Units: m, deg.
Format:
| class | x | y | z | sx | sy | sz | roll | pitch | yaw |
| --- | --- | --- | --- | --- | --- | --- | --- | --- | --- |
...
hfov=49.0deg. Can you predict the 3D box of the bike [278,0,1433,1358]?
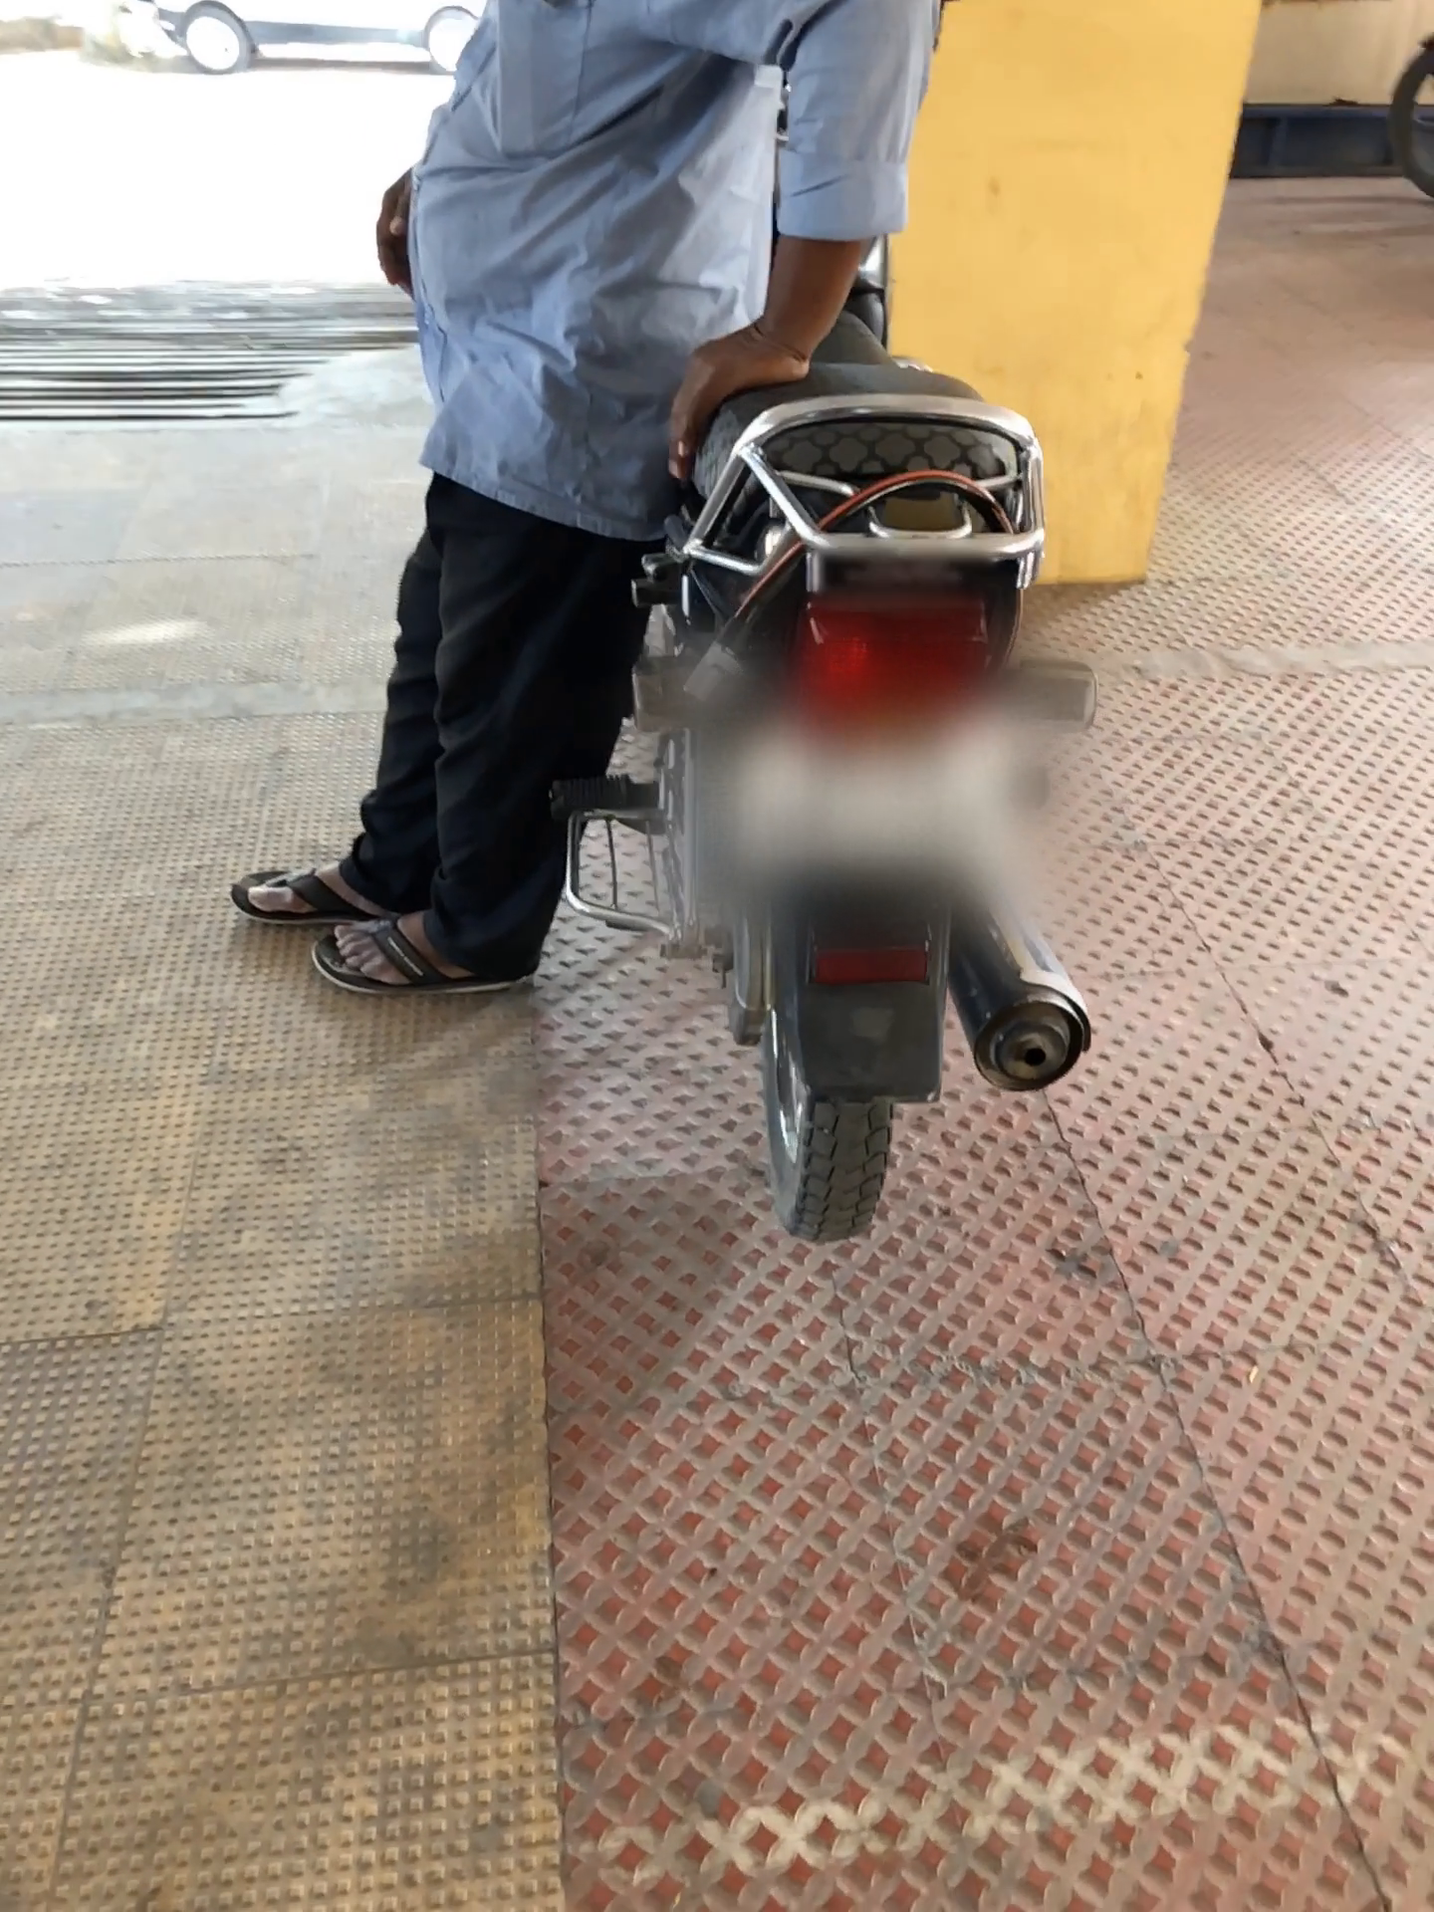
| class | x | y | z | sx | sy | sz | roll | pitch | yaw |
| --- | --- | --- | --- | --- | --- | --- | --- | --- | --- |
| bike | -0.013 | -0.567 | 1.795 | 0.677 | 1.036 | 1.686 | -3 | 39 | -6 |
